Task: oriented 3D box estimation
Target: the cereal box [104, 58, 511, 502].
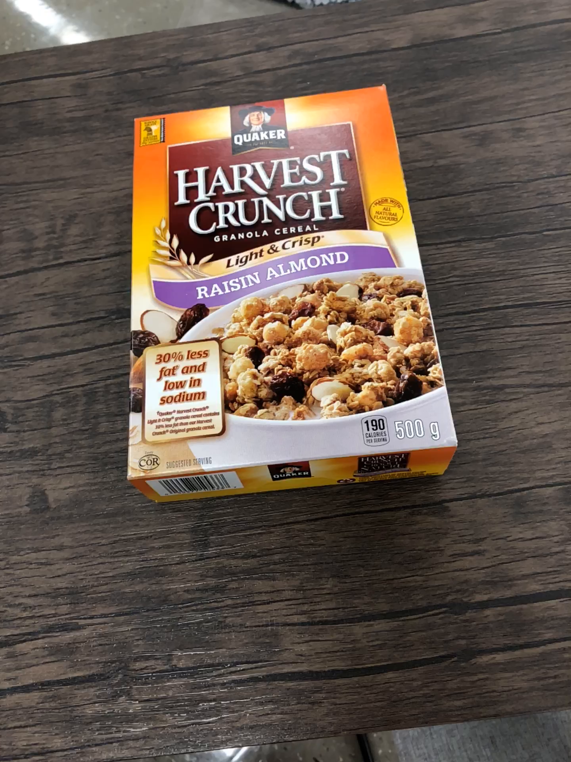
[{"bbox_3d":[0.001,-0.062,0.348,0.180,0.050,0.230,-6,67,2],"label":"cereal box"}]
